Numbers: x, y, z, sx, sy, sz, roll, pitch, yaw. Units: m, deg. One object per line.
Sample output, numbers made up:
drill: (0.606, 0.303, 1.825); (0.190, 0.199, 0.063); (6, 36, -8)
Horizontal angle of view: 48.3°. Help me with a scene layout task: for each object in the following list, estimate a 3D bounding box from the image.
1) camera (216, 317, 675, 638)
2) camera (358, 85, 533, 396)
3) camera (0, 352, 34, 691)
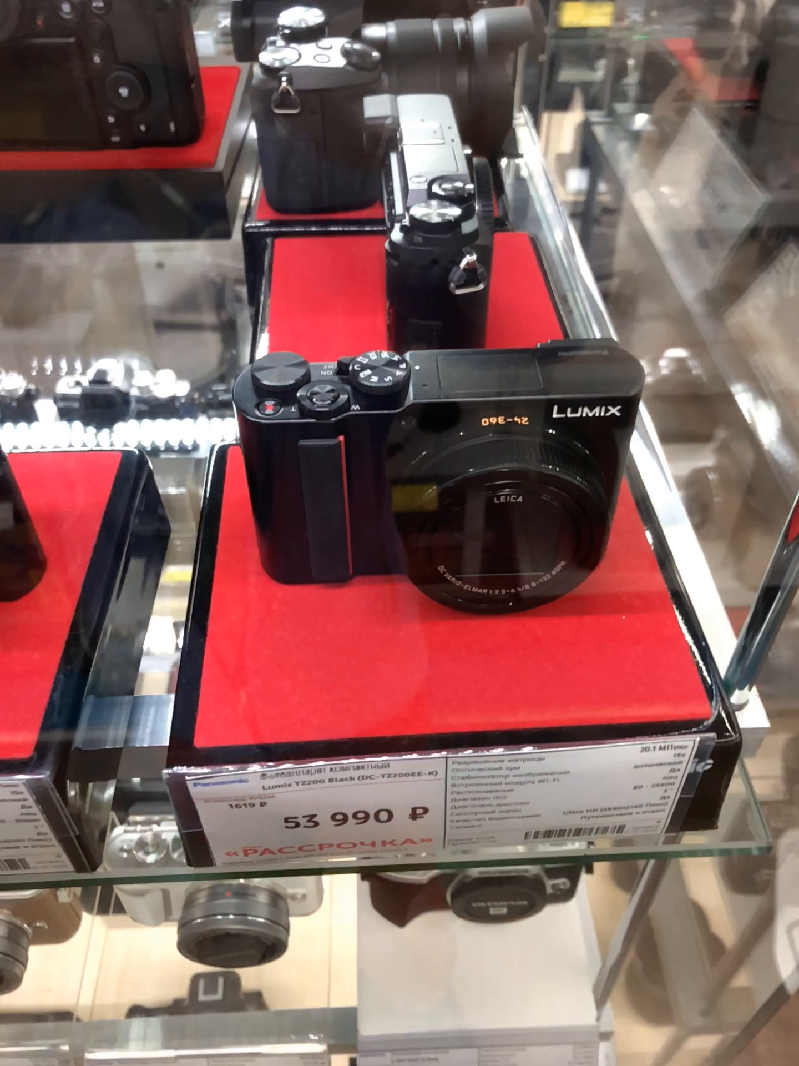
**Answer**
camera: (0.010, -0.015, 0.254); (0.110, 0.070, 0.052); (-3, 45, -2)
camera: (0.013, -0.116, 0.347); (0.054, 0.076, 0.102); (-3, 45, -2)
camera: (-0.177, -0.002, 0.245); (0.114, 0.076, 0.055); (0, 45, 0)
